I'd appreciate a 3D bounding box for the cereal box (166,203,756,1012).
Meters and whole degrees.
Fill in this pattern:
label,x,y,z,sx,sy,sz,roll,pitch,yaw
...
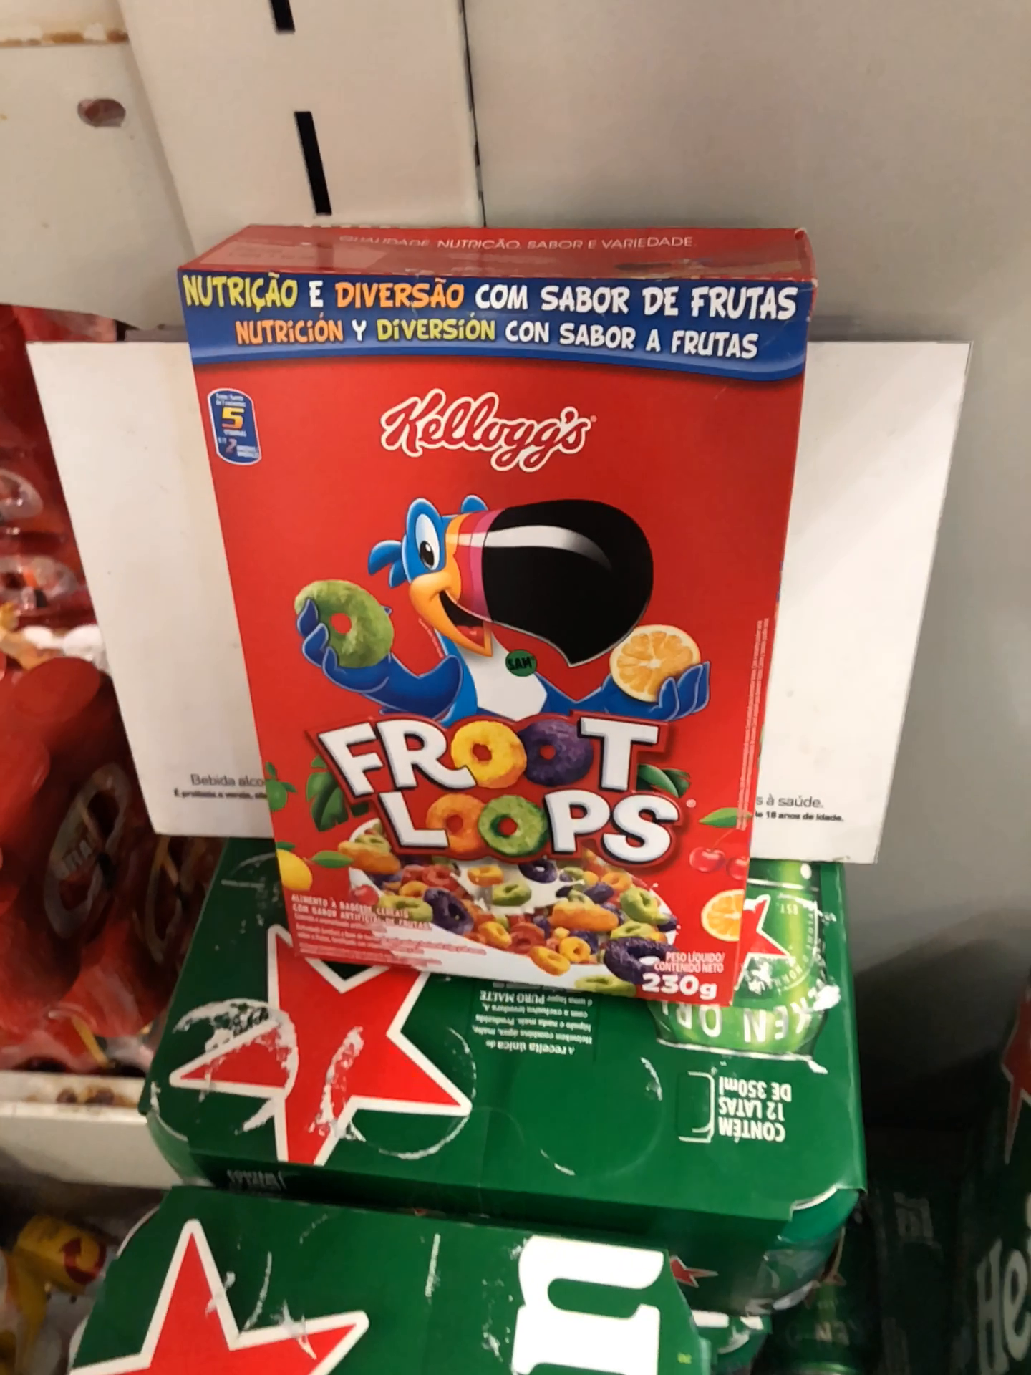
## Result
label,x,y,z,sx,sy,sz,roll,pitch,yaw
cereal box,-0.009,-0.015,0.377,0.150,0.259,0.060,4,33,9
